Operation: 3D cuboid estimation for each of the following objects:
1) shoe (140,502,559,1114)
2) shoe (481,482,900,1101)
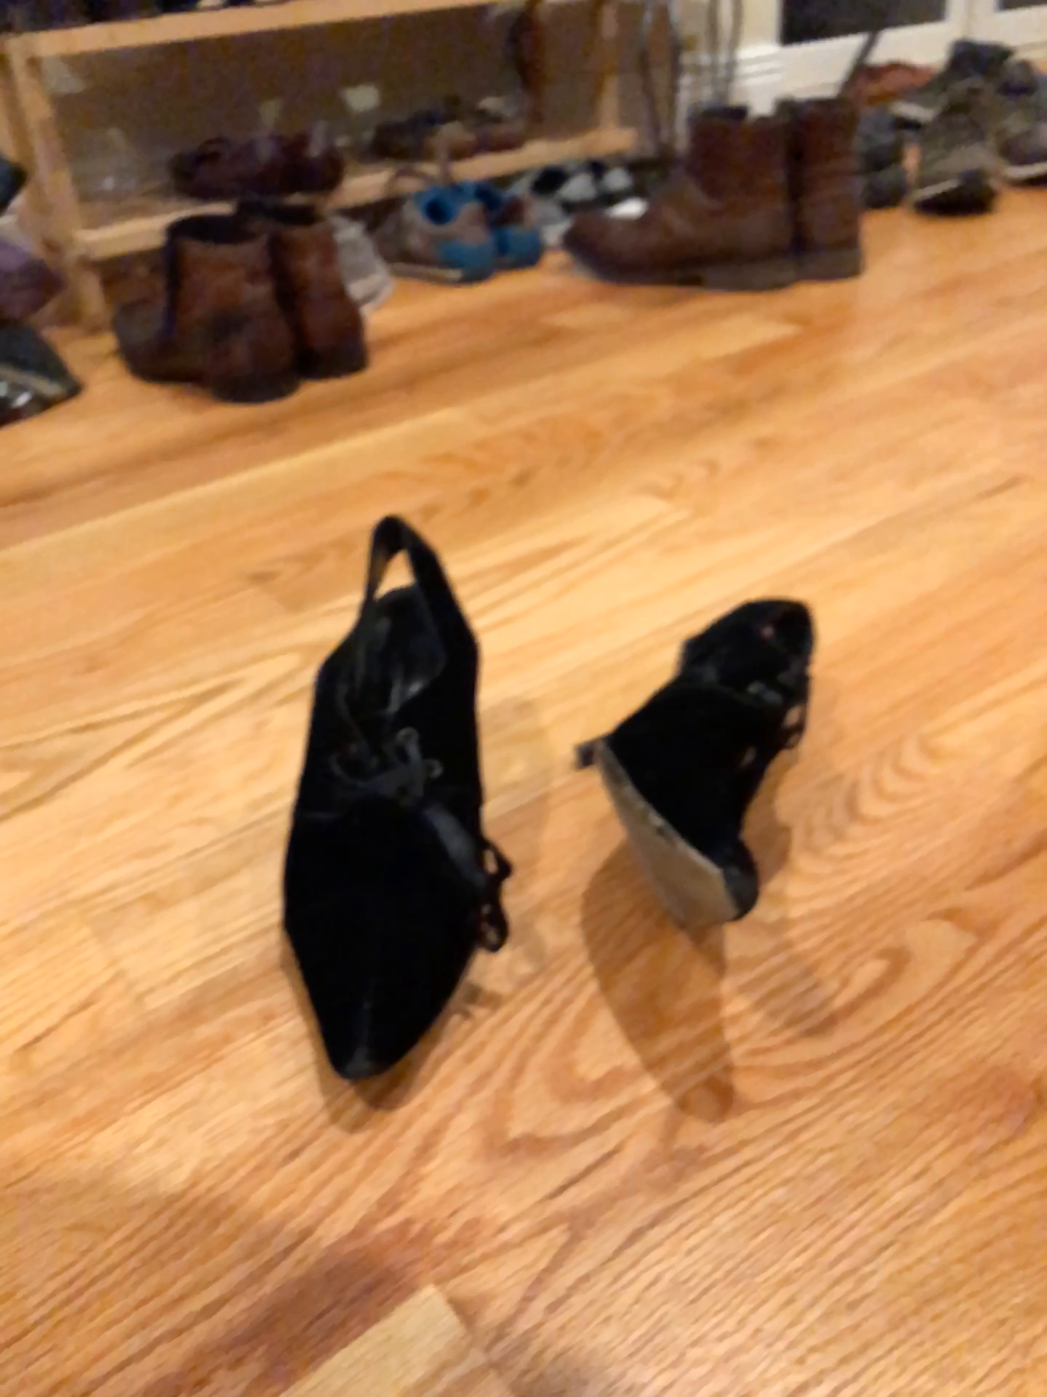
[{"bbox_3d":[-0.048,0.026,0.482,0.107,0.117,0.253,-2,32,6],"label":"shoe"},{"bbox_3d":[0.071,0.016,0.463,0.118,0.107,0.253,0,33,11],"label":"shoe"}]
